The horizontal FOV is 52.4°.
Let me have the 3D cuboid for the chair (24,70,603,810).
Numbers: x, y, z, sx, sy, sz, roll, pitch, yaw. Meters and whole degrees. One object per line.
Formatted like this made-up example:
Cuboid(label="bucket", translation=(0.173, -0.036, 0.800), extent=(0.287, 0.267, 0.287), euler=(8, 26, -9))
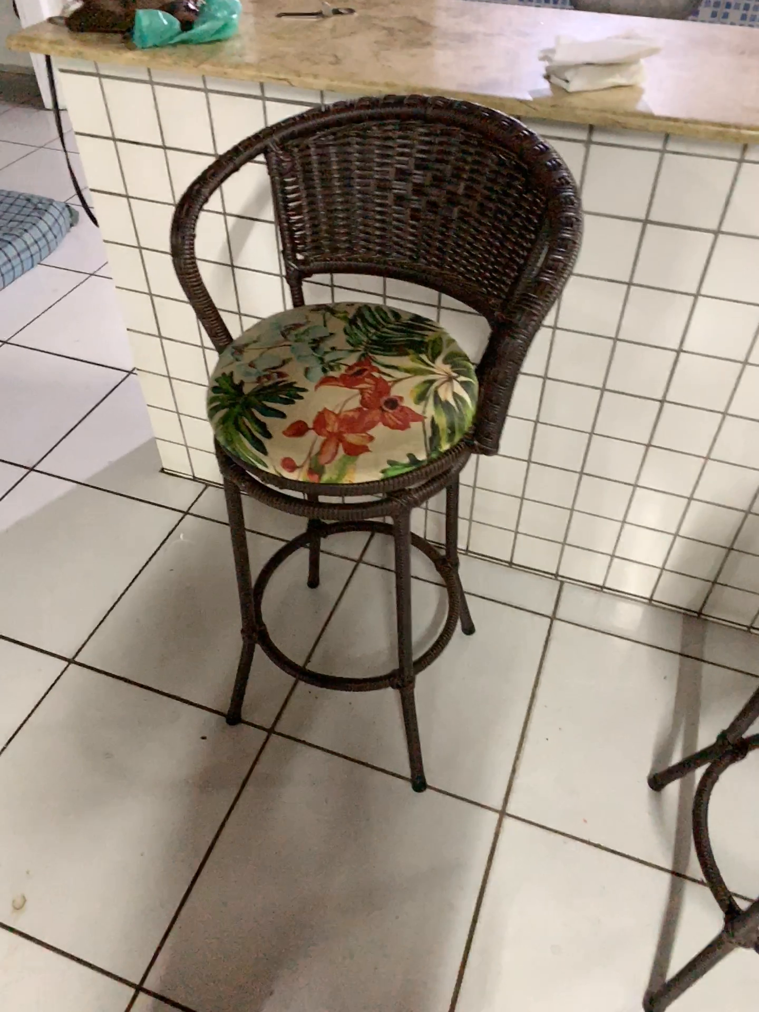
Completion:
Cuboid(label="chair", translation=(-0.033, -0.056, 1.236), extent=(0.500, 0.975, 0.533), euler=(14, 46, 14))
